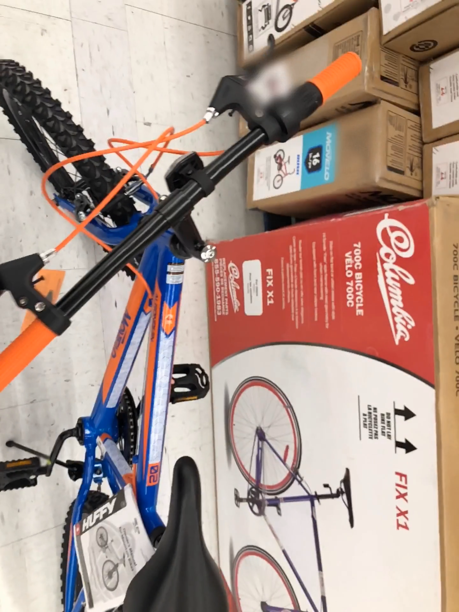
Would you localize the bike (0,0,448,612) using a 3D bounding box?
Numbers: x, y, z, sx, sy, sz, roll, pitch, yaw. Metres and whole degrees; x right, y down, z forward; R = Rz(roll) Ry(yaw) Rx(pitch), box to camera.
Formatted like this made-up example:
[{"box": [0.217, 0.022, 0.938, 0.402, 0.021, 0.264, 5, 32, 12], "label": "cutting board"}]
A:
[{"box": [-0.312, 0.210, 0.885, 0.586, 0.870, 1.314, -8, 89, -37], "label": "bike"}]
